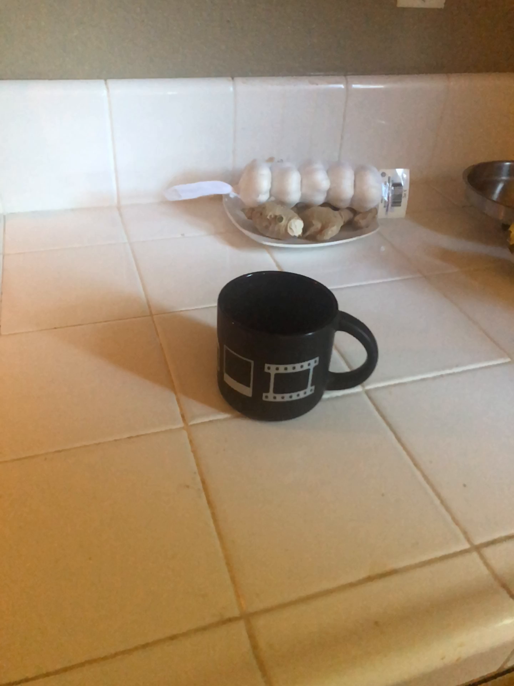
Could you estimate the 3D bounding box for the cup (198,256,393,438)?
[{"bbox_3d":[0.027,0.001,0.438,0.130,0.089,0.091,6,38,3],"label":"cup"}]
